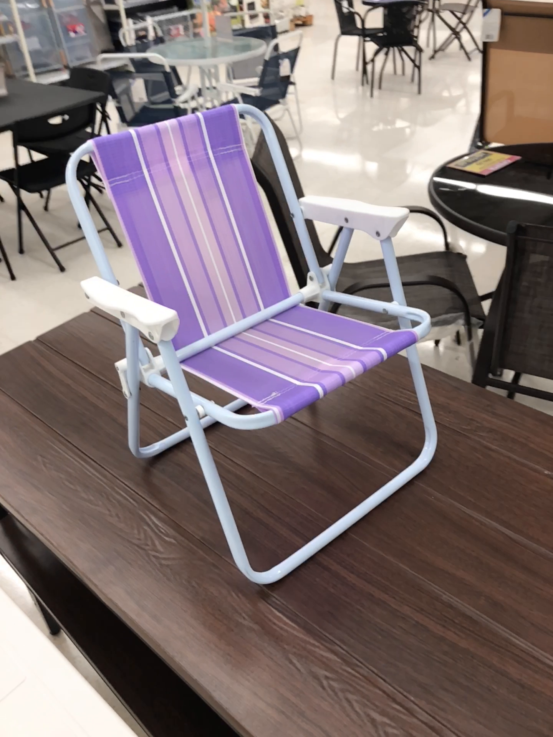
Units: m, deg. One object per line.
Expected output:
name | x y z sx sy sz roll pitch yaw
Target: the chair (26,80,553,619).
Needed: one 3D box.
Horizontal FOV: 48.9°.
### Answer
chair | 0.022 -0.069 0.778 0.421 0.437 0.392 -28 43 -29
